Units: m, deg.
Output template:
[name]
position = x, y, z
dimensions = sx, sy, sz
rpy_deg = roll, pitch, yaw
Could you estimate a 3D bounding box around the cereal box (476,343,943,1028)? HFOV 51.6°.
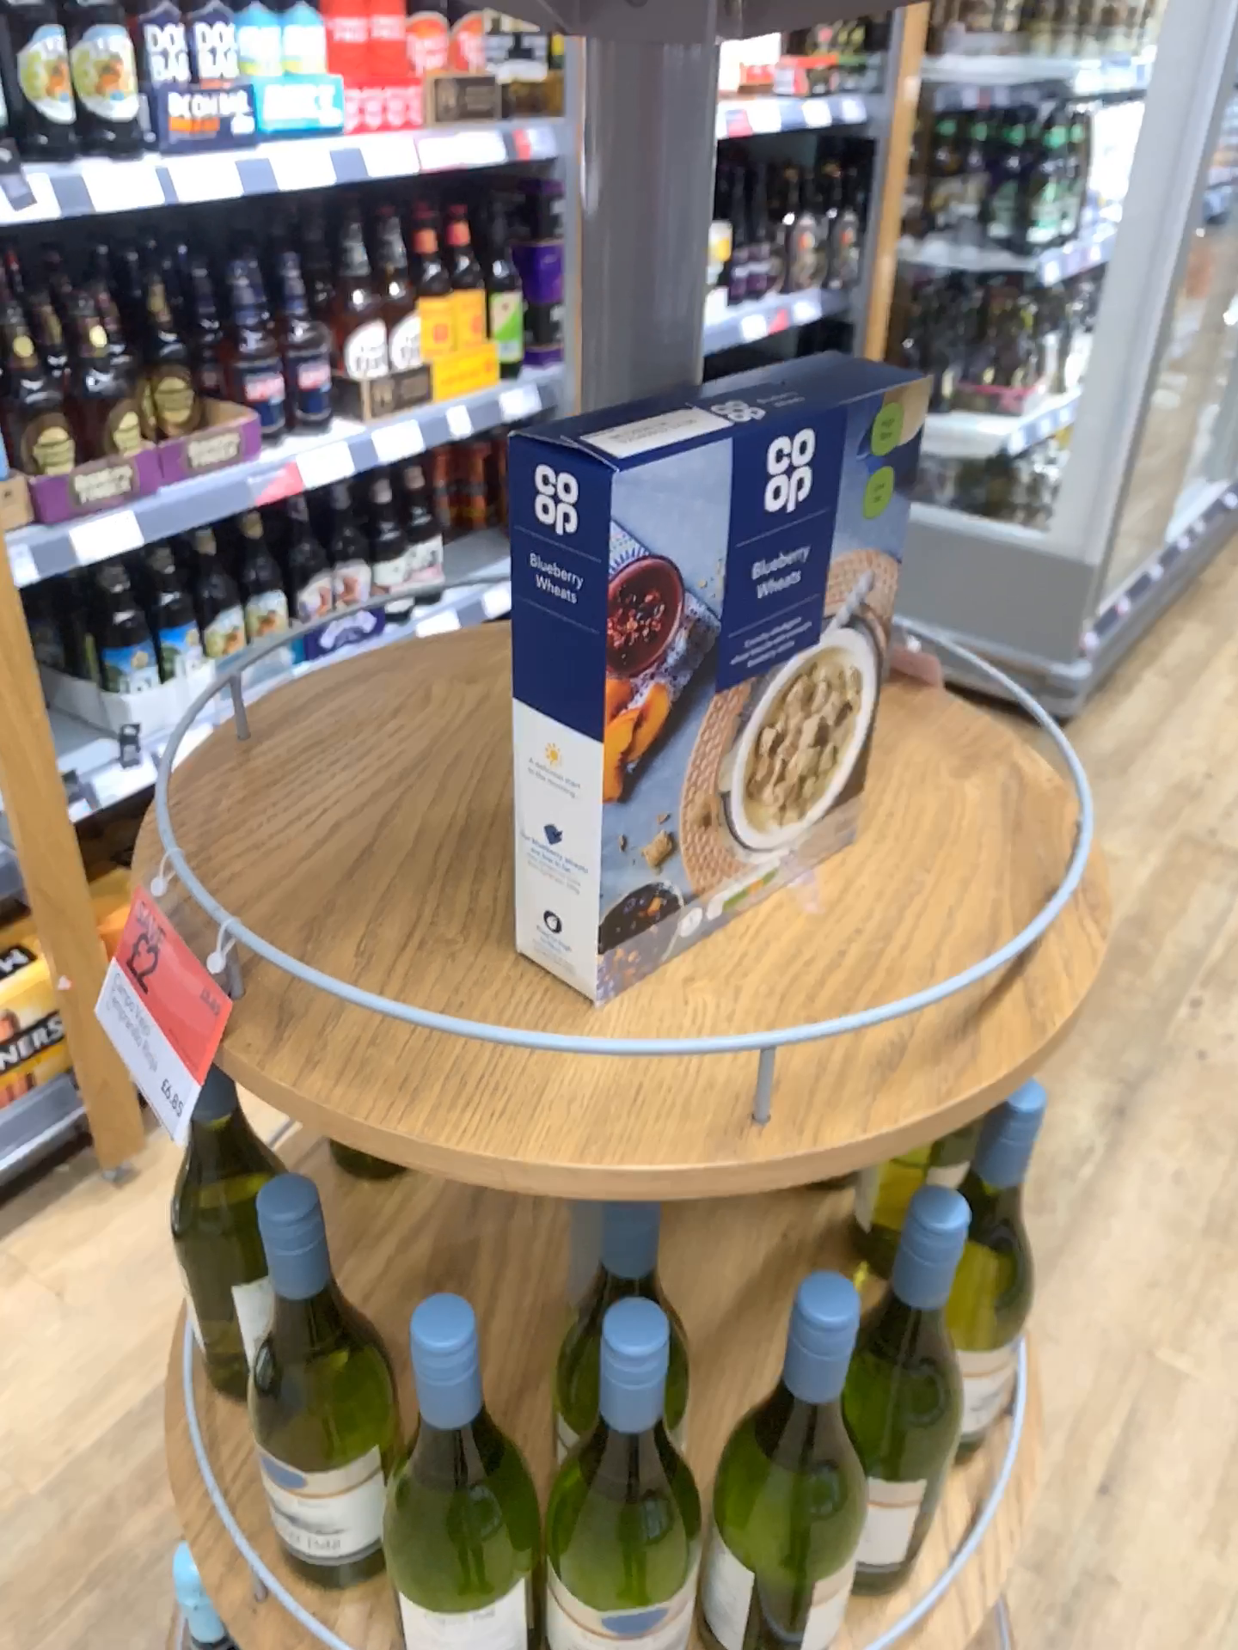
[cereal box]
position = 0.039, -0.064, 0.540
dimensions = 0.060, 0.228, 0.201
rpy_deg = 28, 41, 35
